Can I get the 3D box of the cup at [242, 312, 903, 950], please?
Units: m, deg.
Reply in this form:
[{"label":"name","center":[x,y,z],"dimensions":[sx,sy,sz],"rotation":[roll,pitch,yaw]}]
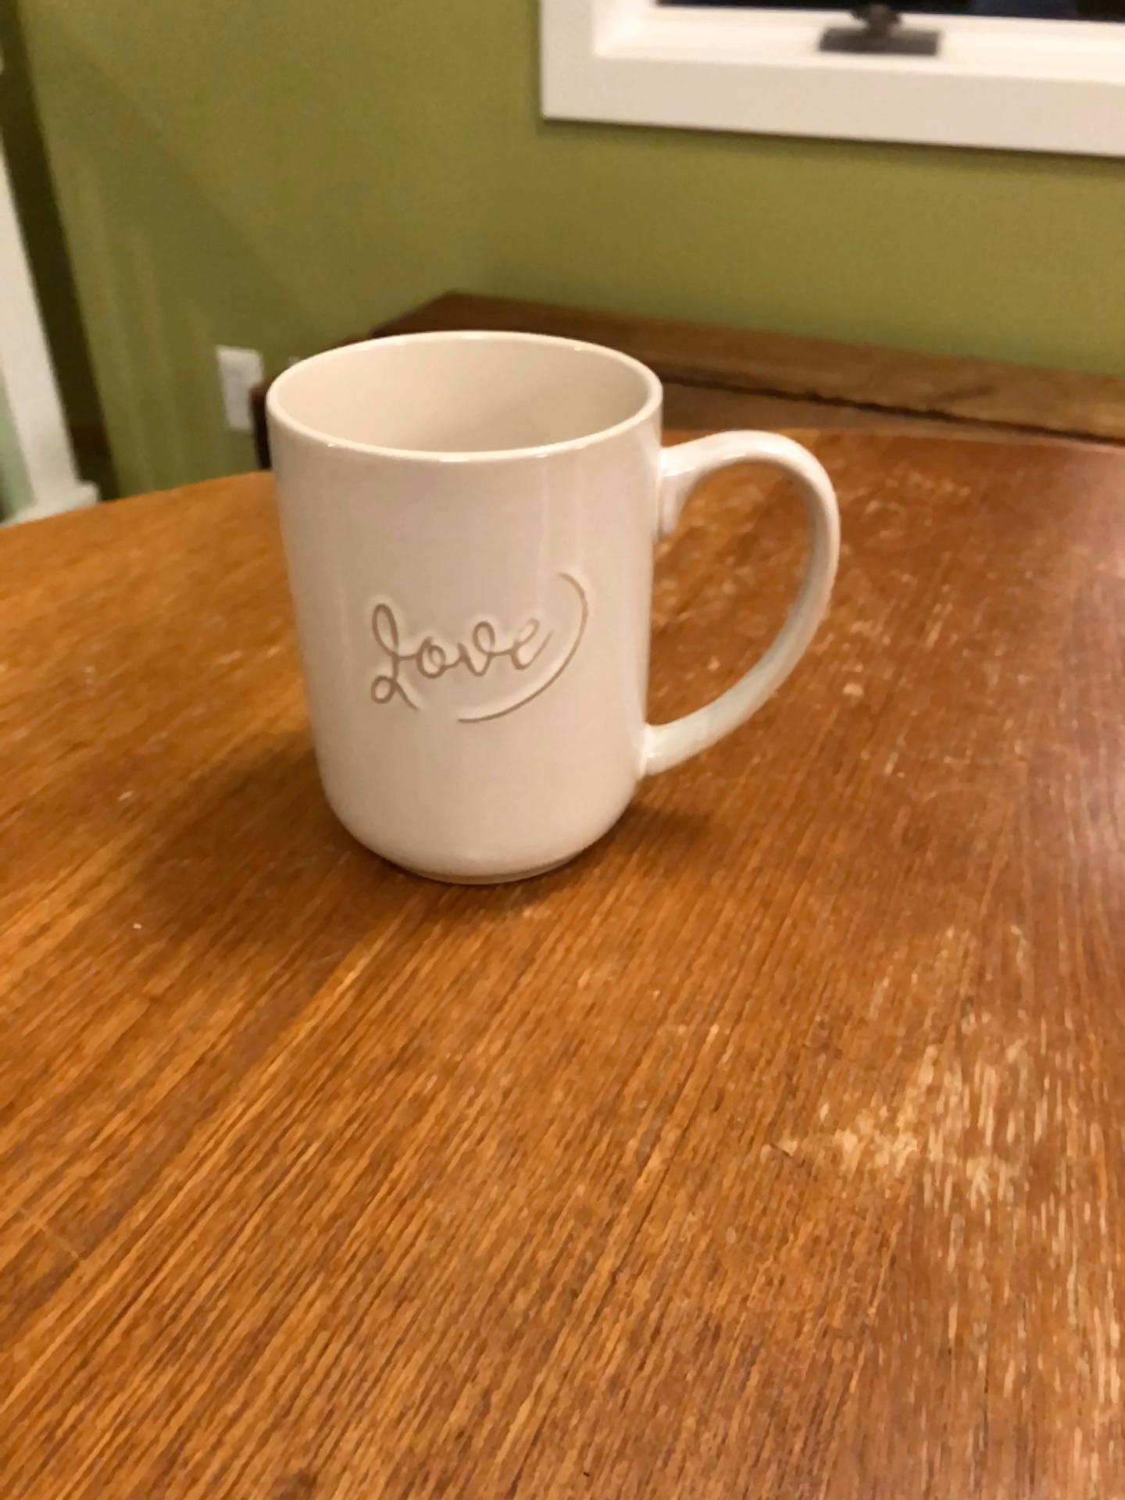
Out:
[{"label":"cup","center":[-0.003,-0.034,0.323],"dimensions":[0.134,0.123,0.092],"rotation":[-6,34,-8]}]
